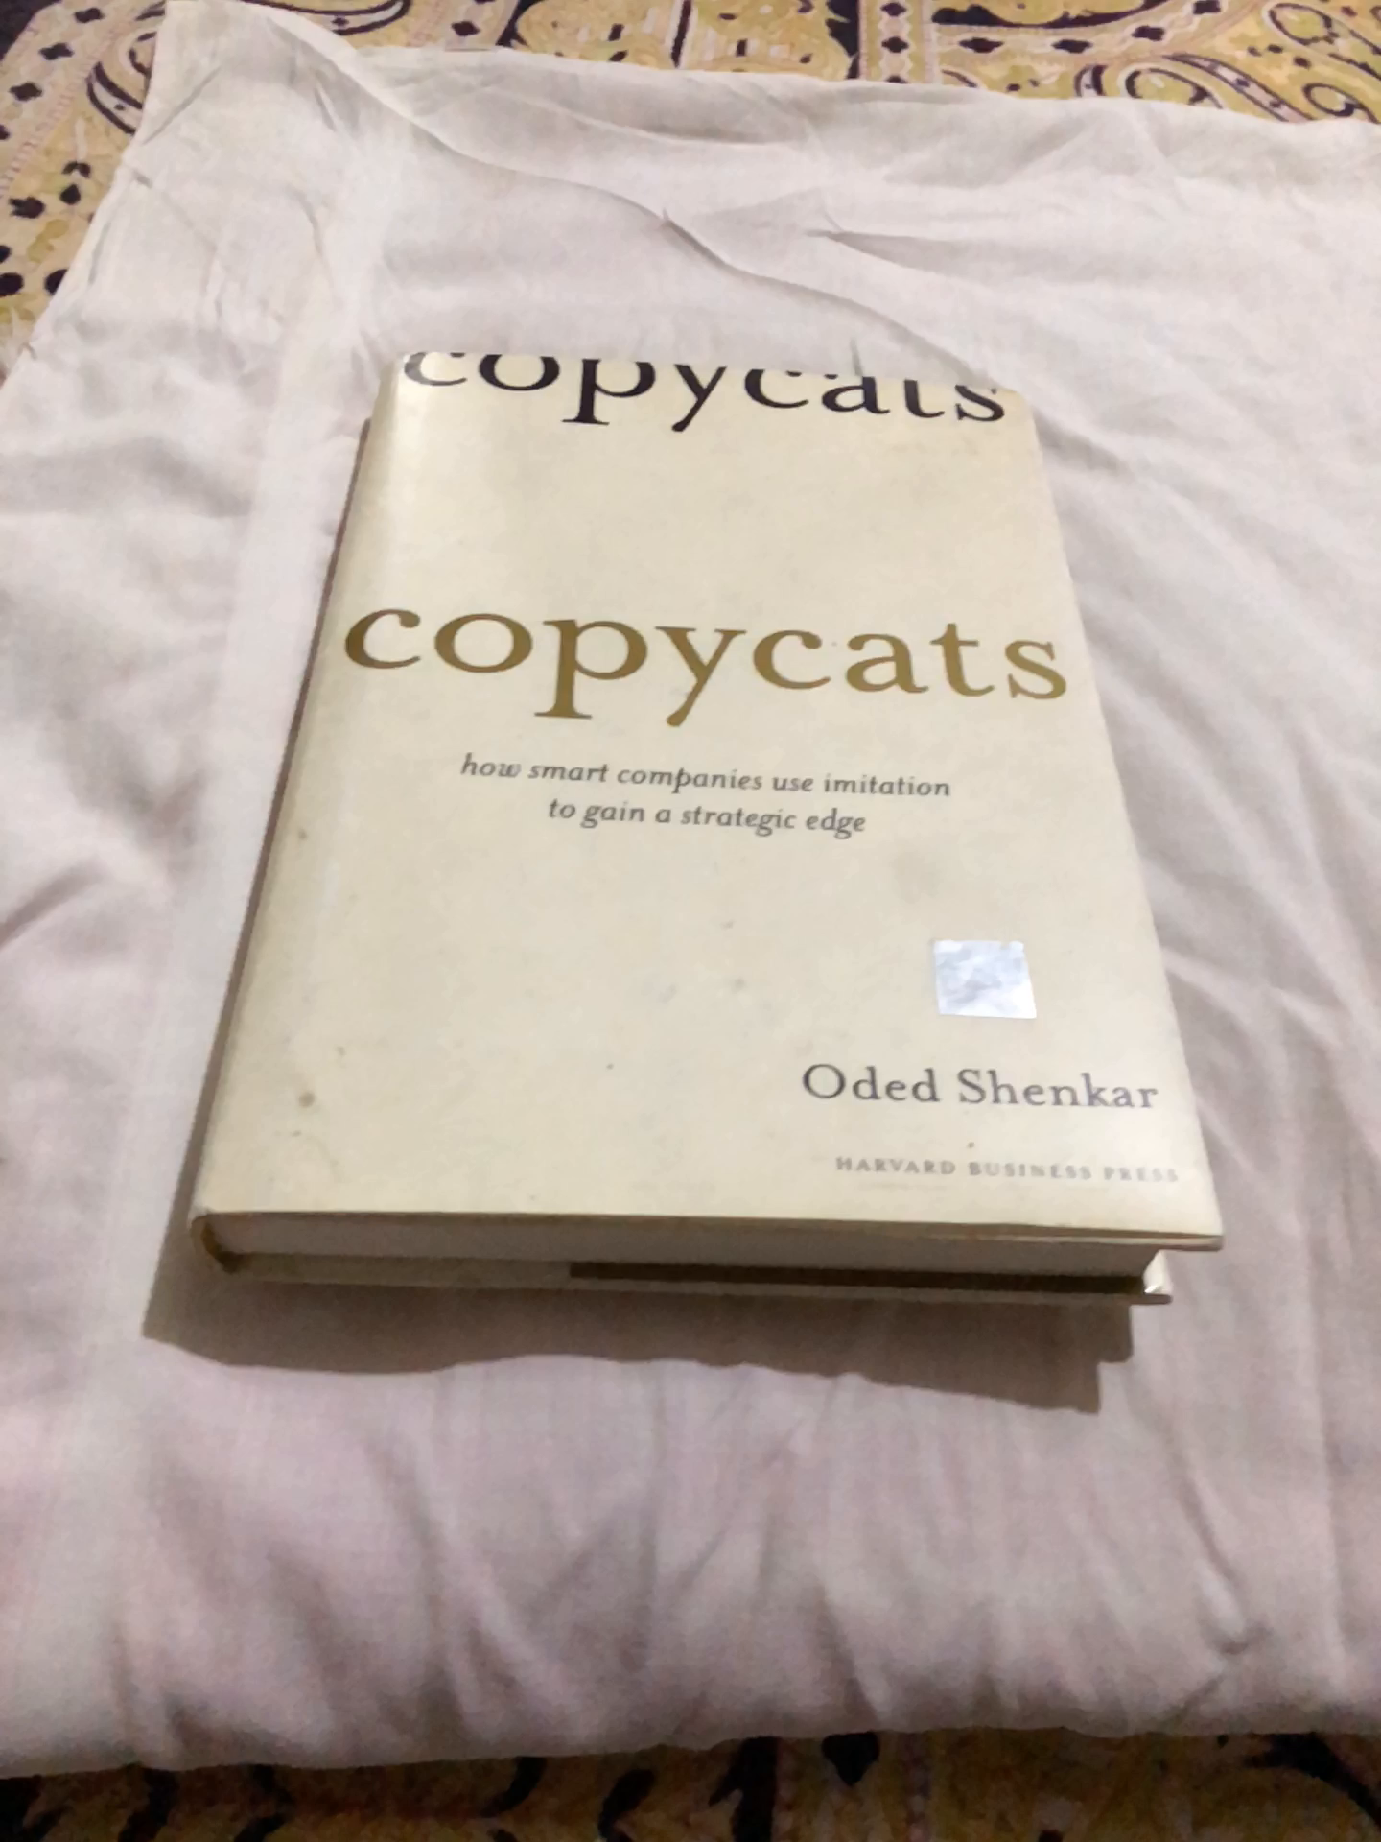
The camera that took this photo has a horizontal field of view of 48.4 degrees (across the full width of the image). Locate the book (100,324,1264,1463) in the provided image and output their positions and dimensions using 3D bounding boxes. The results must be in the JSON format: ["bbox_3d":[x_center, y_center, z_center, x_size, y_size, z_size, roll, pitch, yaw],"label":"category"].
[{"bbox_3d":[0.003,-0.026,0.285,0.150,0.040,0.231,3,51,0],"label":"book"}]
